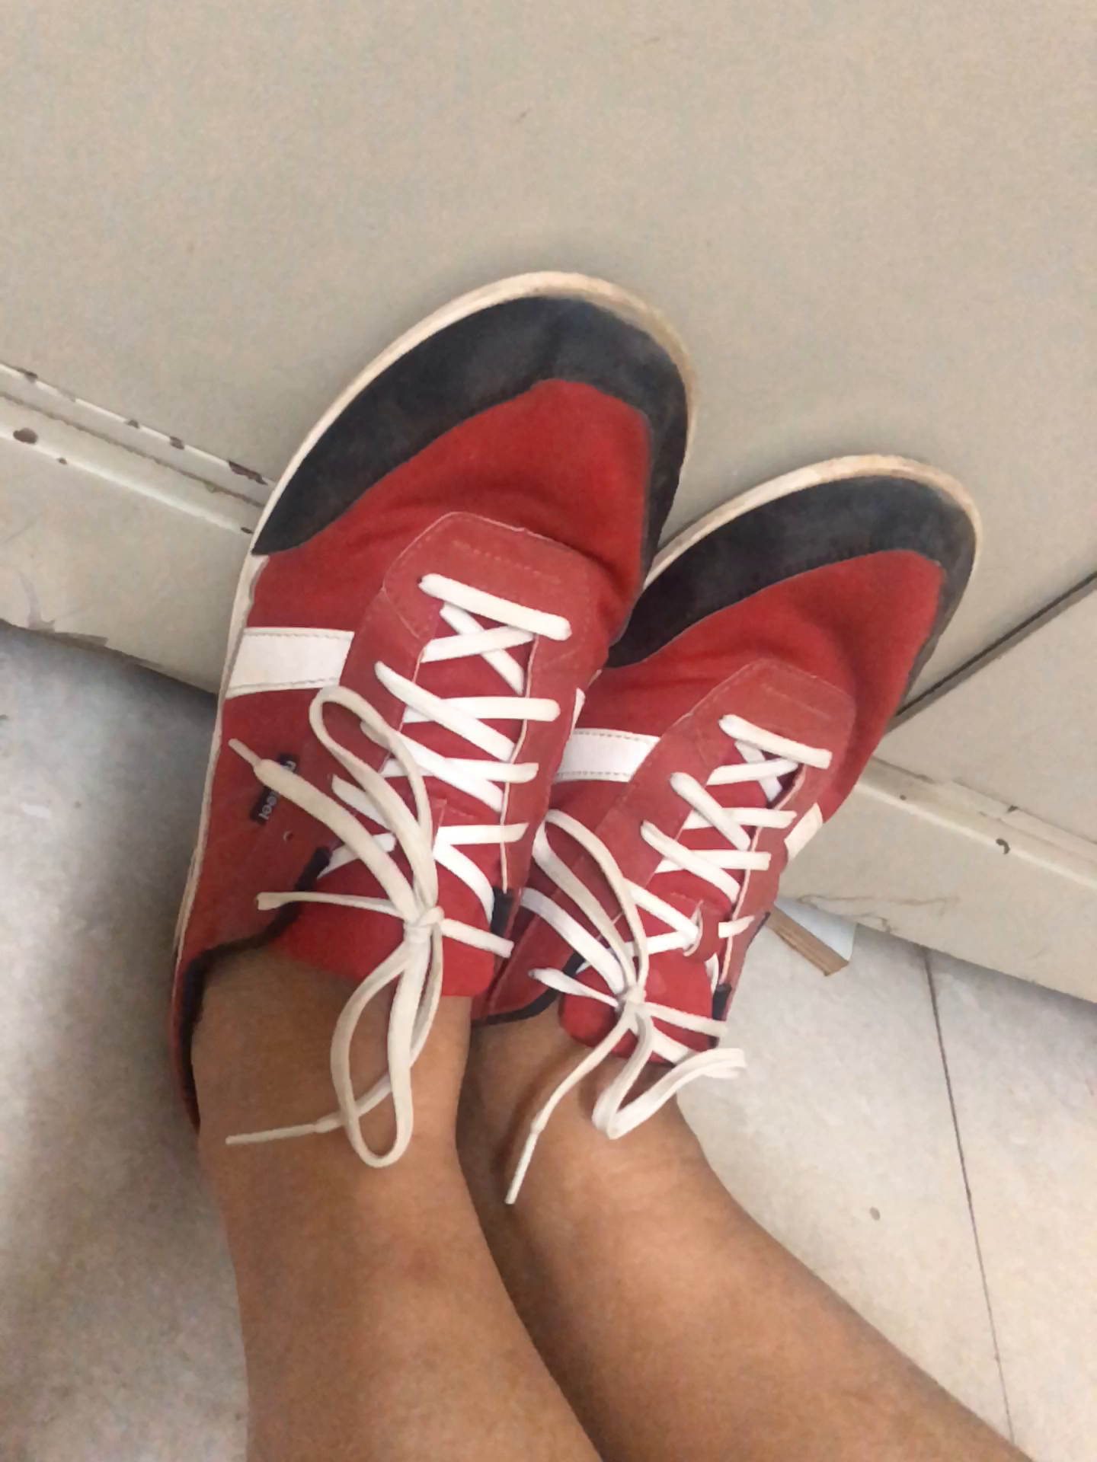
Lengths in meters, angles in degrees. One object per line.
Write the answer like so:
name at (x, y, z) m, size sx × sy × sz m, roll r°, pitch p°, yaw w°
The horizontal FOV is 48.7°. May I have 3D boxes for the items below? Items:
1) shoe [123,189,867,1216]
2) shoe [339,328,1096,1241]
shoe at (-0.025, 0.001, 0.312) m, size 0.100 × 0.229 × 0.080 m, roll 7°, pitch 22°, yaw -34°
shoe at (0.038, 0.023, 0.366) m, size 0.100 × 0.249 × 0.080 m, roll 19°, pitch 16°, yaw -26°
